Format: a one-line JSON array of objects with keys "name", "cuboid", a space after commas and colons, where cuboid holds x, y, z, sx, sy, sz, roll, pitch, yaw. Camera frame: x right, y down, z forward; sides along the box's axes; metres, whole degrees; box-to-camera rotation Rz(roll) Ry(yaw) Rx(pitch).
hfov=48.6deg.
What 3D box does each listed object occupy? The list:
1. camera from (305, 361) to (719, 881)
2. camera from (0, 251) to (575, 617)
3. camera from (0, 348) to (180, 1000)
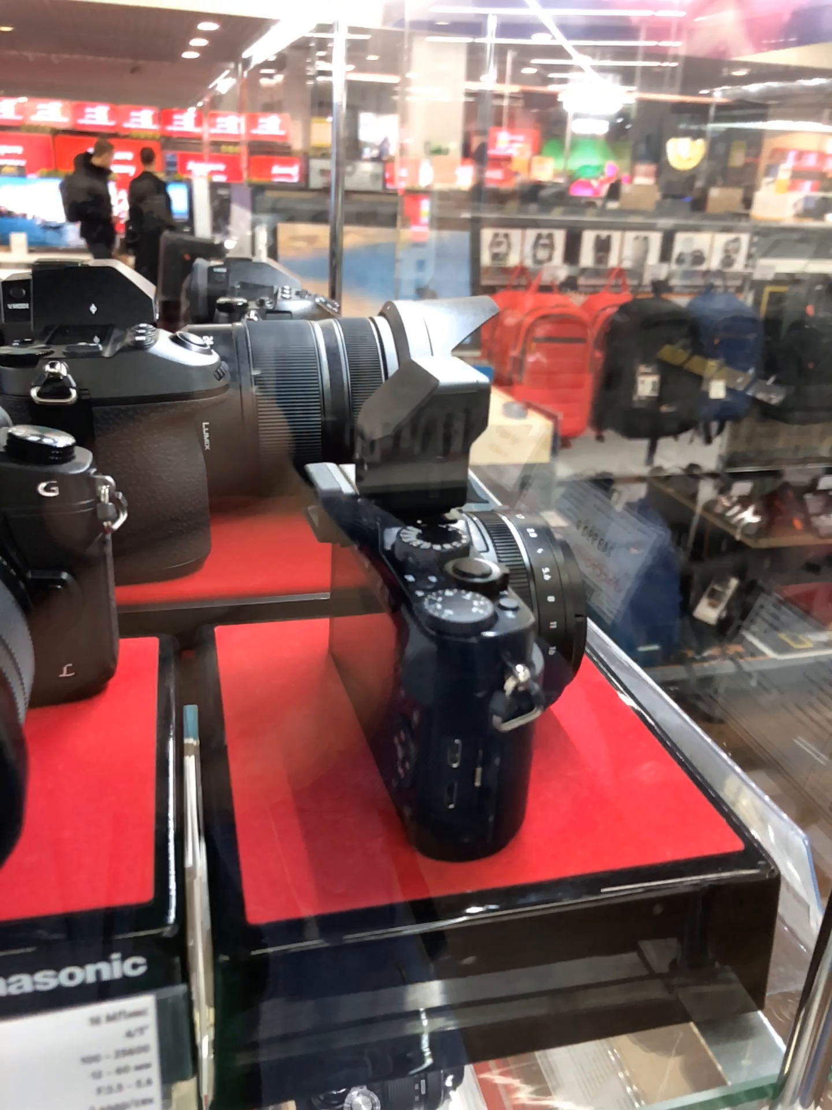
[{"name": "camera", "cuboid": [0.014, 0.006, 0.259, 0.069, 0.098, 0.117, -4, 23, -16]}, {"name": "camera", "cuboid": [-0.073, -0.071, 0.429, 0.226, 0.114, 0.176, -4, 23, -16]}, {"name": "camera", "cuboid": [-0.109, 0.006, 0.218, 0.098, 0.082, 0.150, -3, 23, -14]}]
